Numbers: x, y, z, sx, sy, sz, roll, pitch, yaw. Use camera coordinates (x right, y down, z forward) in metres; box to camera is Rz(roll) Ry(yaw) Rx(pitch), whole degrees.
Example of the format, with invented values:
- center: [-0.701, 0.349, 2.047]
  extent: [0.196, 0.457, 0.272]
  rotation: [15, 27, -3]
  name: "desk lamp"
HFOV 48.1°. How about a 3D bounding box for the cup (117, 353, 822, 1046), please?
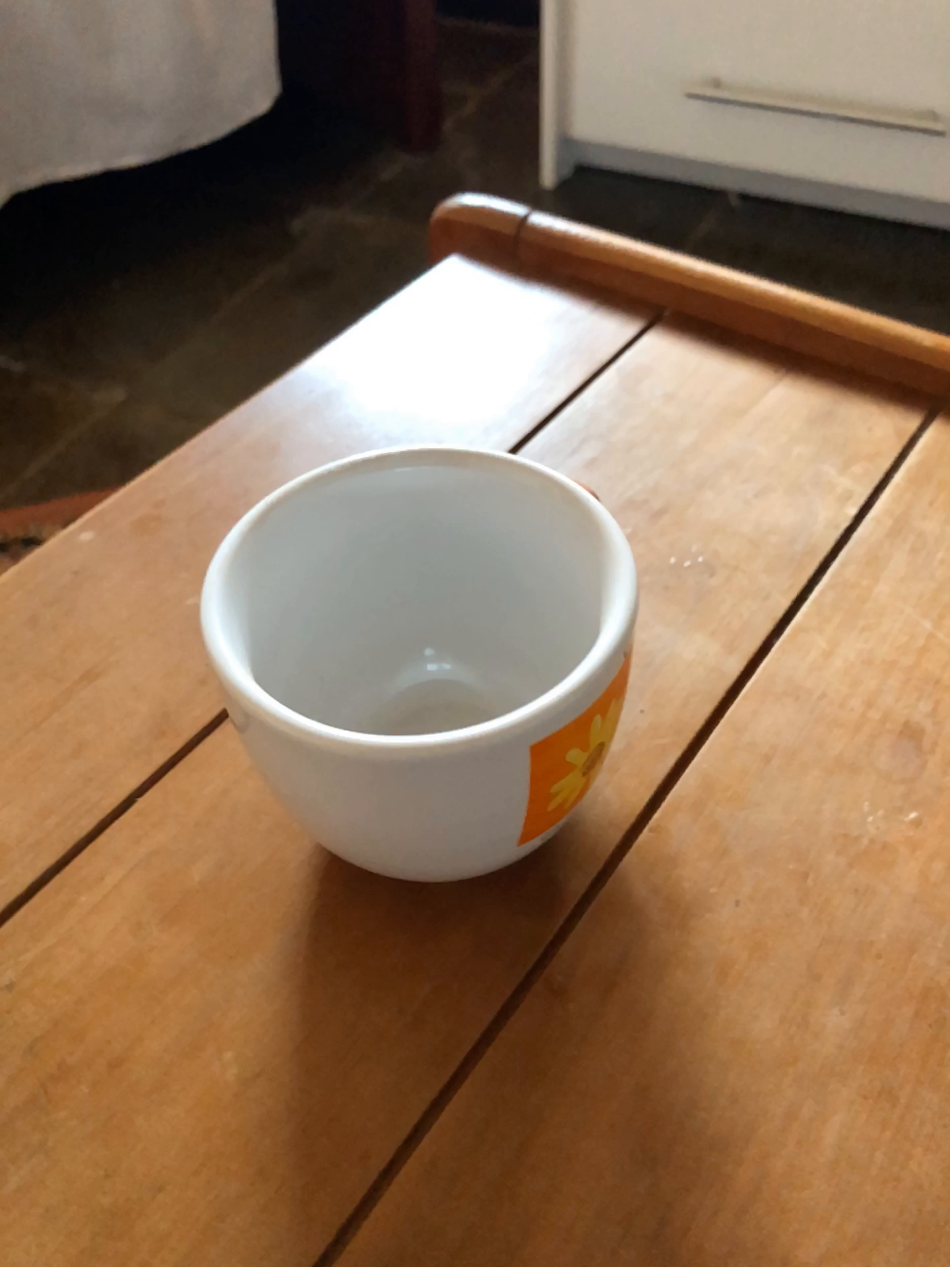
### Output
- center: [0.004, 0.005, 0.227]
  extent: [0.090, 0.060, 0.111]
  rotation: [25, 53, 23]
  name: "cup"
